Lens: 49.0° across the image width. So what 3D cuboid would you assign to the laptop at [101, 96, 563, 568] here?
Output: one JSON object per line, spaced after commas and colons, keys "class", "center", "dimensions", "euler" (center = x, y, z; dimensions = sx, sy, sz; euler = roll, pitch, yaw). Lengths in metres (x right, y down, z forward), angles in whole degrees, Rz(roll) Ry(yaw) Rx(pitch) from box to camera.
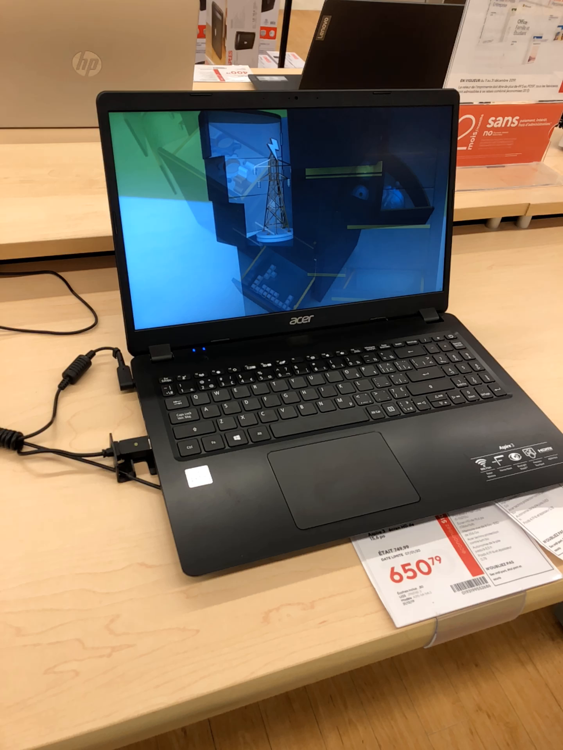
{"class": "laptop", "center": [0.061, -0.072, 0.523], "dimensions": [0.354, 0.210, 0.328], "euler": [-8, 43, -18]}
